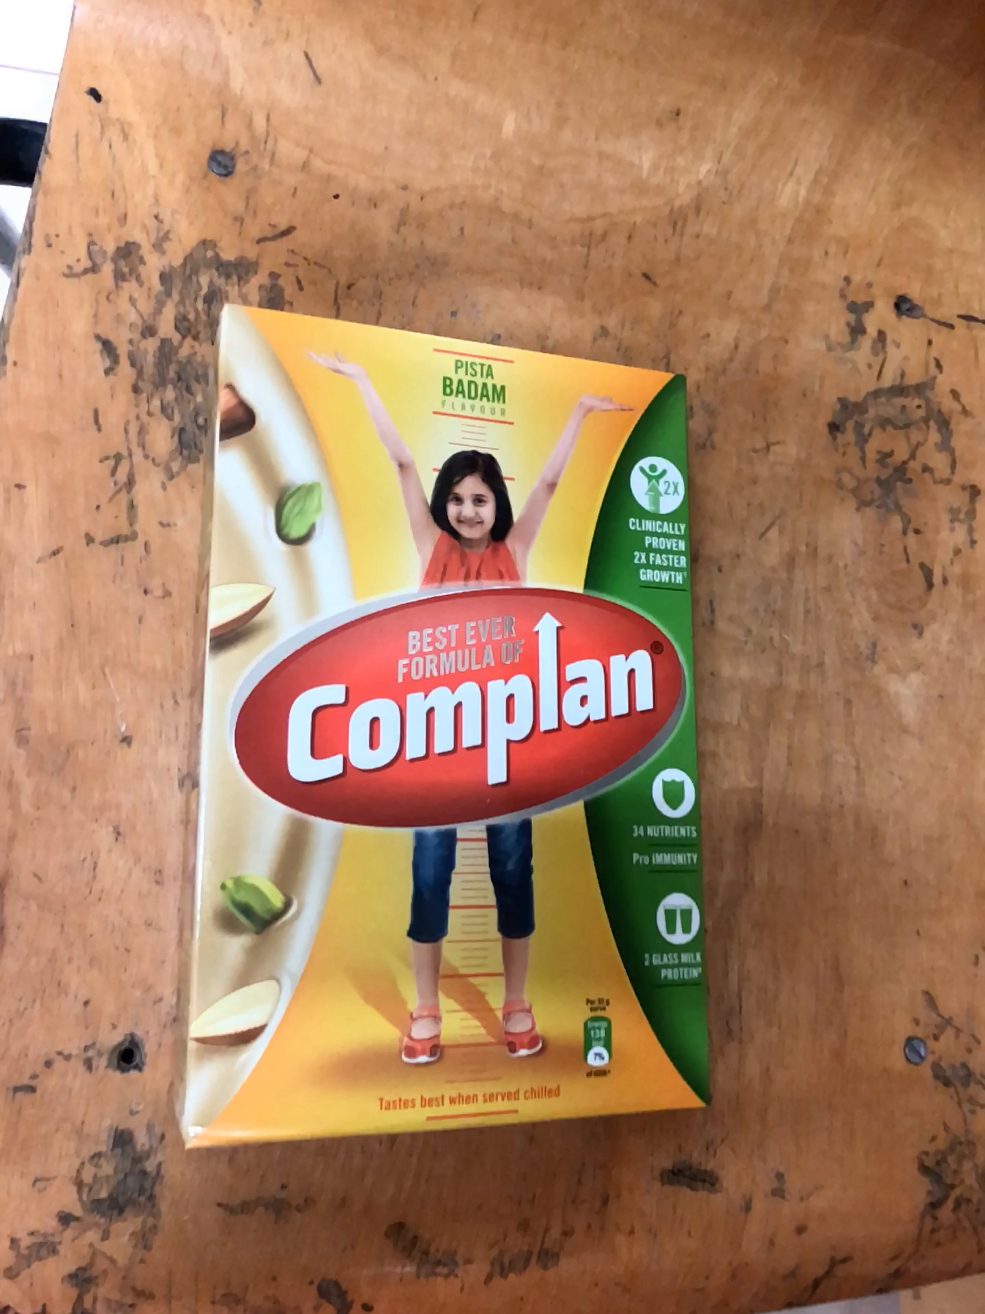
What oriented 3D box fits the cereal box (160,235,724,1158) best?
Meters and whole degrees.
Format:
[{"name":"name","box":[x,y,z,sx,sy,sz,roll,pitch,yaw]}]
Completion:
[{"name":"cereal box","box":[-0.014,0.009,0.307,0.140,0.050,0.220,3,80,-21]}]
